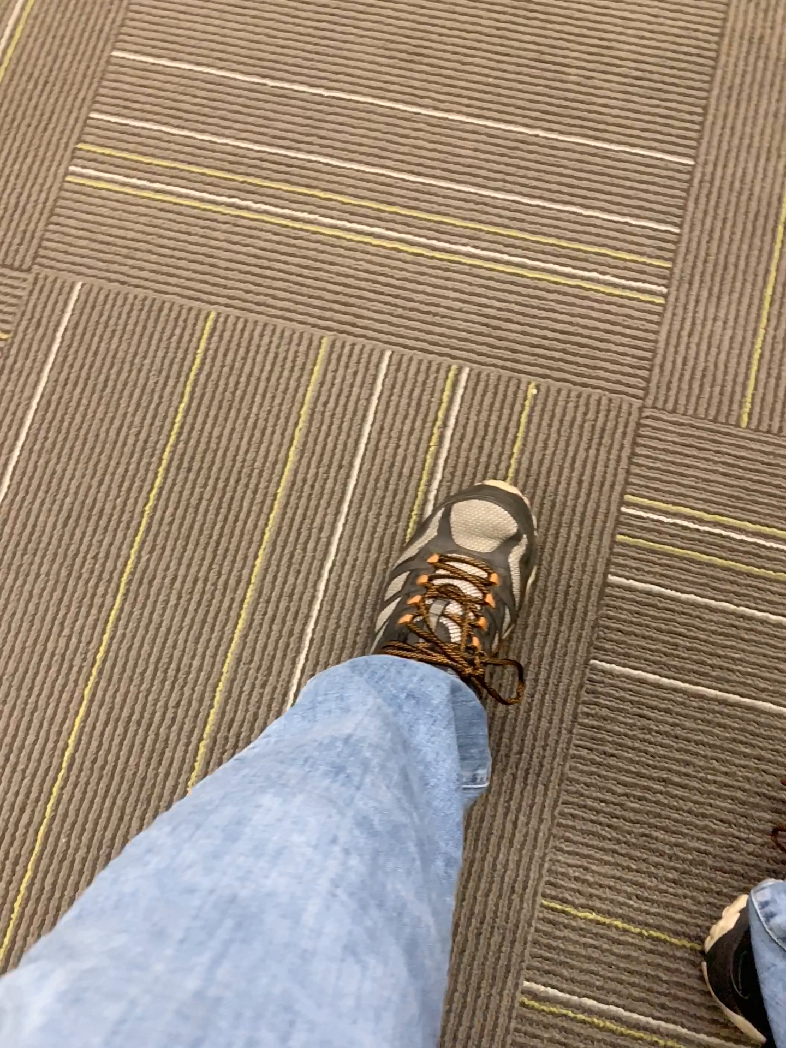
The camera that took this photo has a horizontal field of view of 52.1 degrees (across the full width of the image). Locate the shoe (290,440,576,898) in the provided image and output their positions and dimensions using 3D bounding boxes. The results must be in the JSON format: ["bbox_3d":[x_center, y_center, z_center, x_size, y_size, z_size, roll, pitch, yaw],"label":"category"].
[{"bbox_3d":[0.037,0.111,0.665,0.125,0.095,0.323,18,80,6],"label":"shoe"}]

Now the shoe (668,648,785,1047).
[{"bbox_3d":[0.370,0.263,0.617,0.122,0.095,0.322,38,83,9],"label":"shoe"}]
